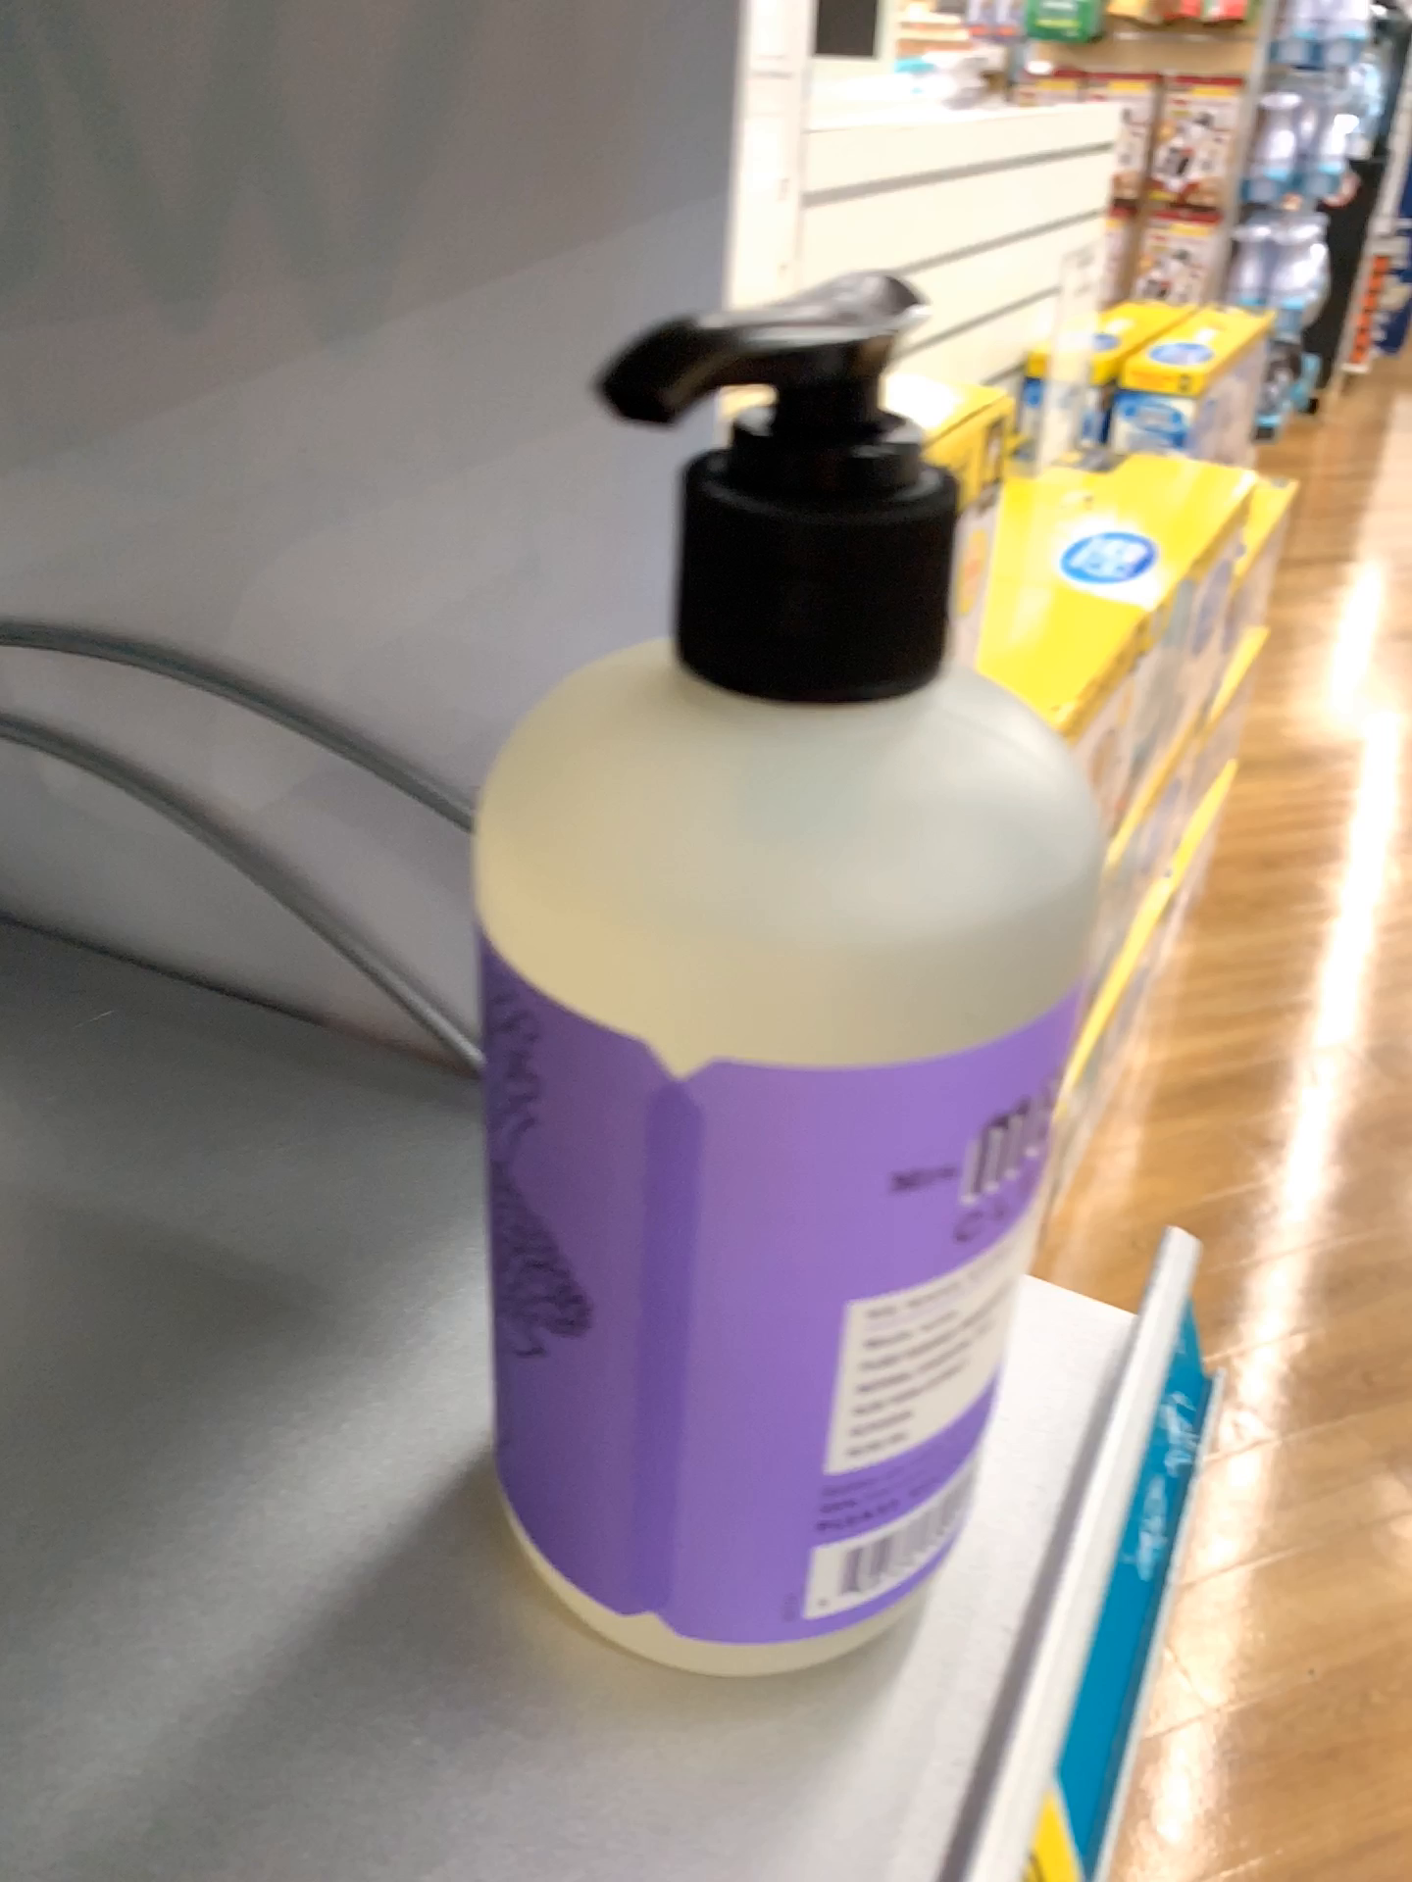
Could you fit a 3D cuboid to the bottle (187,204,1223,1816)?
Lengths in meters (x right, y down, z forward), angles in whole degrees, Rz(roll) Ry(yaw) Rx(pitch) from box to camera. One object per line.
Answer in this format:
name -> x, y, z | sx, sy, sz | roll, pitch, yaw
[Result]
bottle -> 0.006, 0.008, 0.171 | 0.070, 0.159, 0.080 | 11, 33, 14
